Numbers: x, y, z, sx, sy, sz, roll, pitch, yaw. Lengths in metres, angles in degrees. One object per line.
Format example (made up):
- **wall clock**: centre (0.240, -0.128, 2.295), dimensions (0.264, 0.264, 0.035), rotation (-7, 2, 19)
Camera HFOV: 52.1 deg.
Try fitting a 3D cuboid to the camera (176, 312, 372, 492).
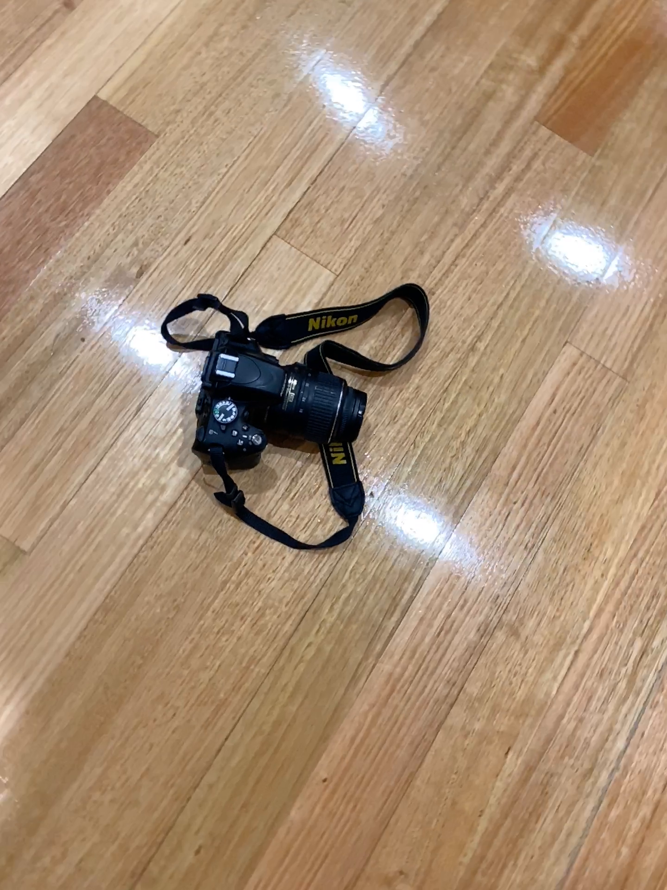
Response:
- **camera**: centre (-0.058, -0.038, 0.678), dimensions (0.160, 0.100, 0.130), rotation (10, 76, -5)
